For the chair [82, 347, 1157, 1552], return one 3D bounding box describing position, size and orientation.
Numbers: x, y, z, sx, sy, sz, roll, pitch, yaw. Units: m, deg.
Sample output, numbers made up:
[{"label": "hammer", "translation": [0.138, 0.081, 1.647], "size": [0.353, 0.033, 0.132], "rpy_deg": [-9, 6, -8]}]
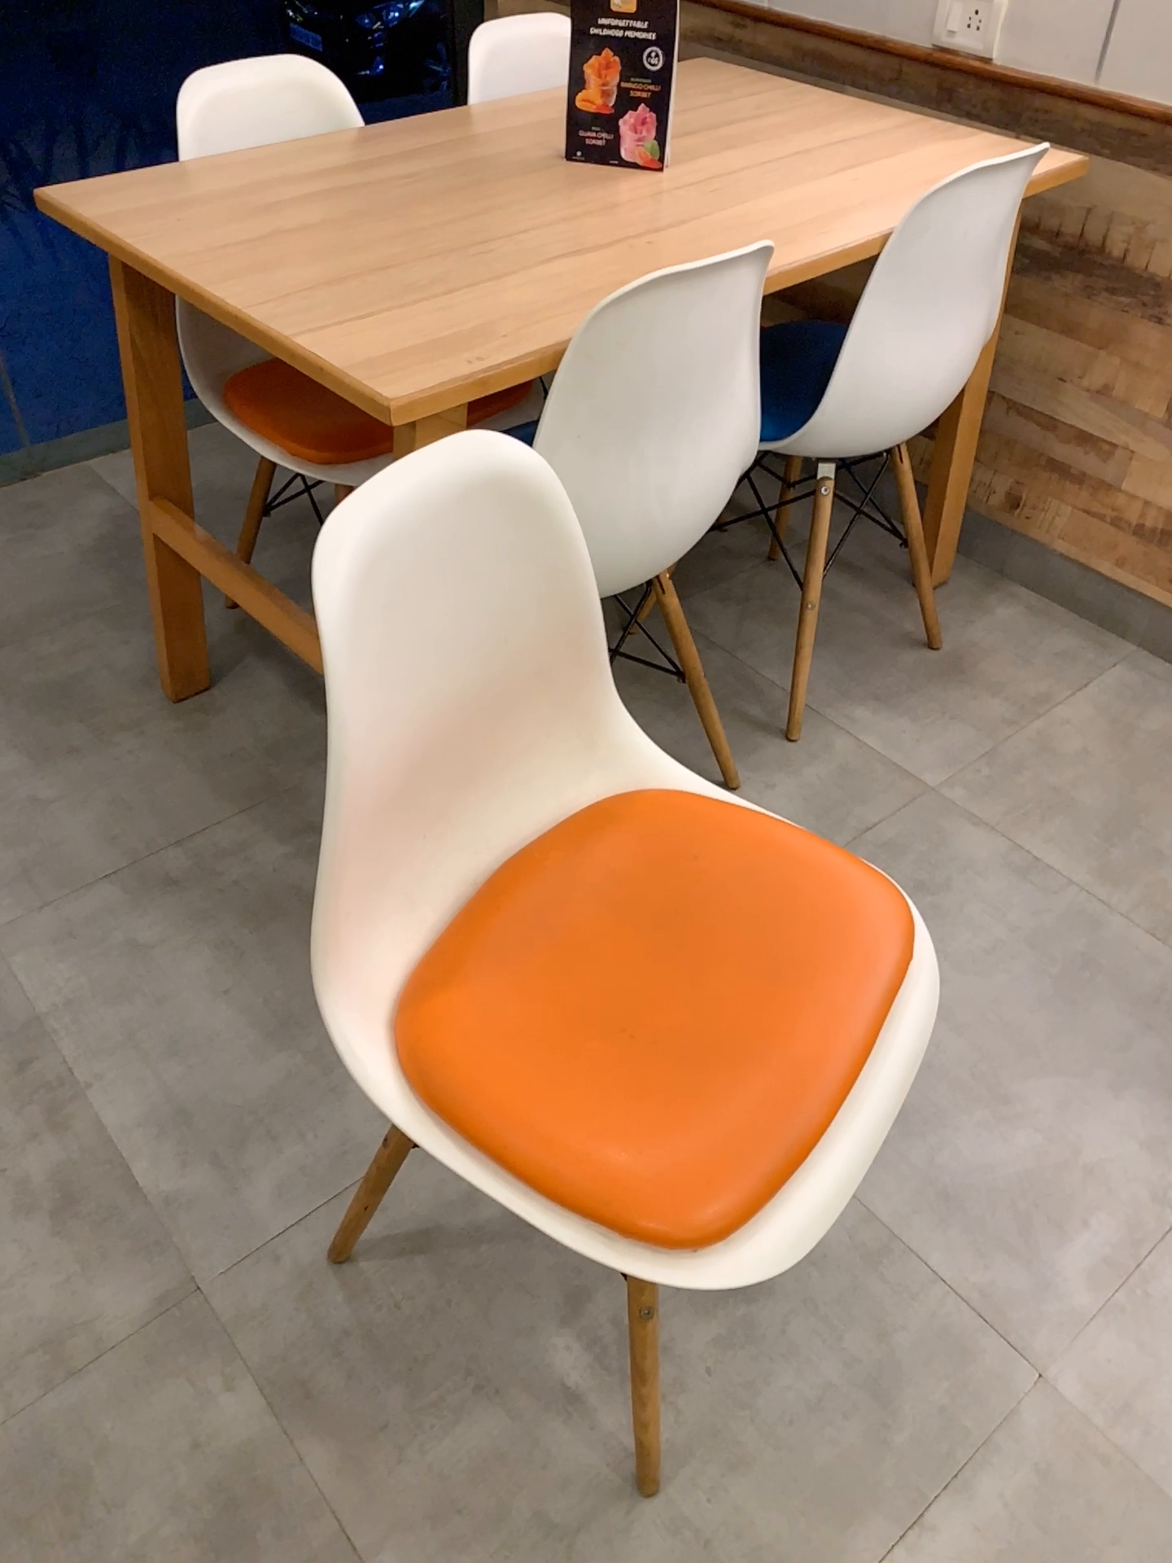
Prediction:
[{"label": "chair", "translation": [0.031, 0.129, 0.971], "size": [0.482, 0.704, 0.473], "rpy_deg": [27, 47, 25]}]
